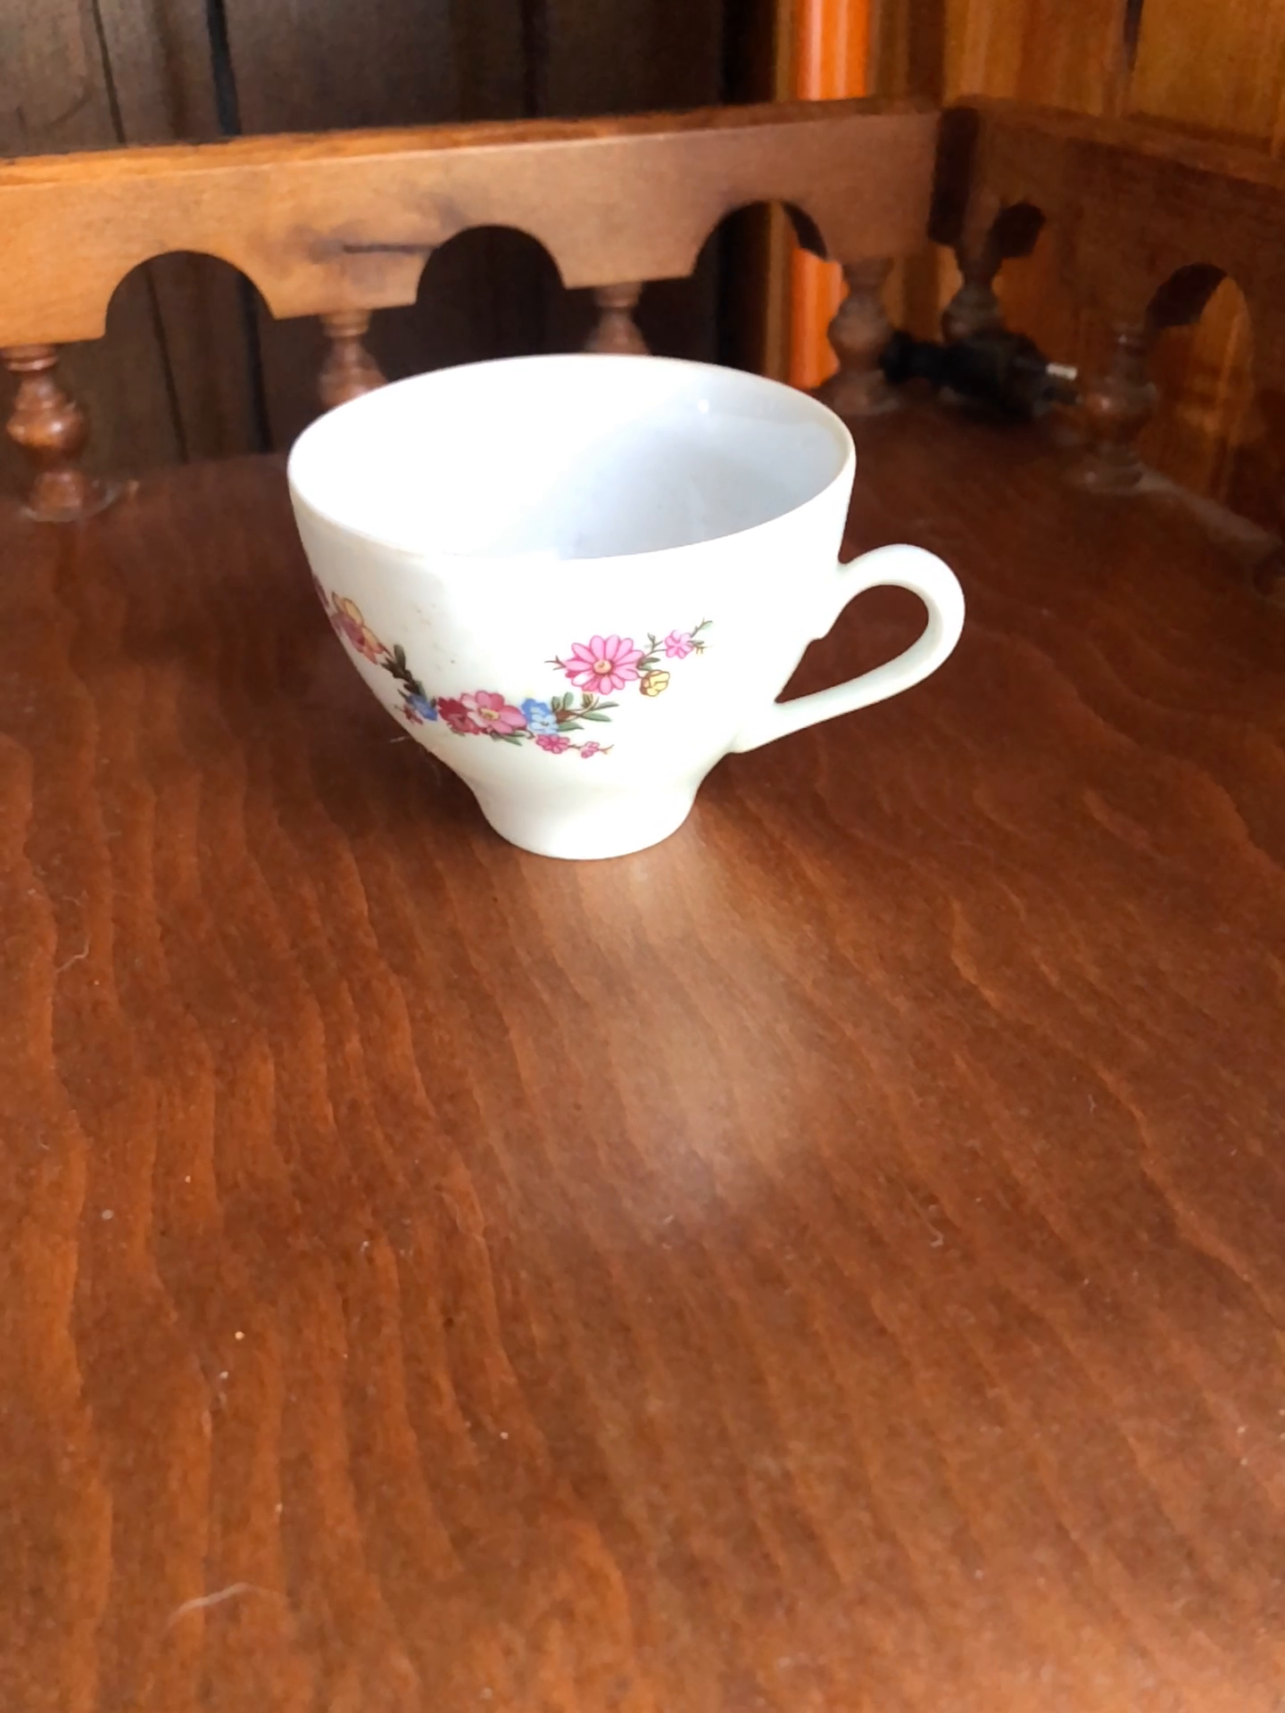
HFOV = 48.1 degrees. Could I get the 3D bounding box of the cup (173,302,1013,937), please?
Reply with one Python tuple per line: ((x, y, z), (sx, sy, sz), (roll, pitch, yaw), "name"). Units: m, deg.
((0.000, -0.040, 0.204), (0.090, 0.050, 0.081), (9, 36, 14), "cup")
